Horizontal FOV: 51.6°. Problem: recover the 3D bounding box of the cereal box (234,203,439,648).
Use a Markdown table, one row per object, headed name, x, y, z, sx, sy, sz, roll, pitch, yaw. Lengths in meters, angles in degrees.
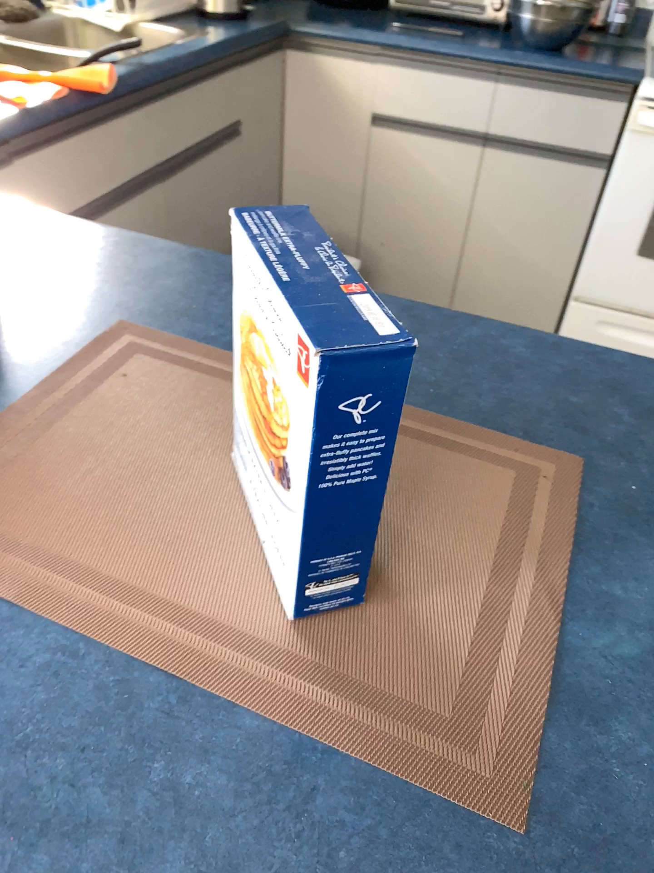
| name | x | y | z | sx | sy | sz | roll | pitch | yaw |
| --- | --- | --- | --- | --- | --- | --- | --- | --- | --- |
| cereal box | -0.010 | -0.008 | 0.418 | 0.050 | 0.208 | 0.171 | -10 | 41 | -18 |
